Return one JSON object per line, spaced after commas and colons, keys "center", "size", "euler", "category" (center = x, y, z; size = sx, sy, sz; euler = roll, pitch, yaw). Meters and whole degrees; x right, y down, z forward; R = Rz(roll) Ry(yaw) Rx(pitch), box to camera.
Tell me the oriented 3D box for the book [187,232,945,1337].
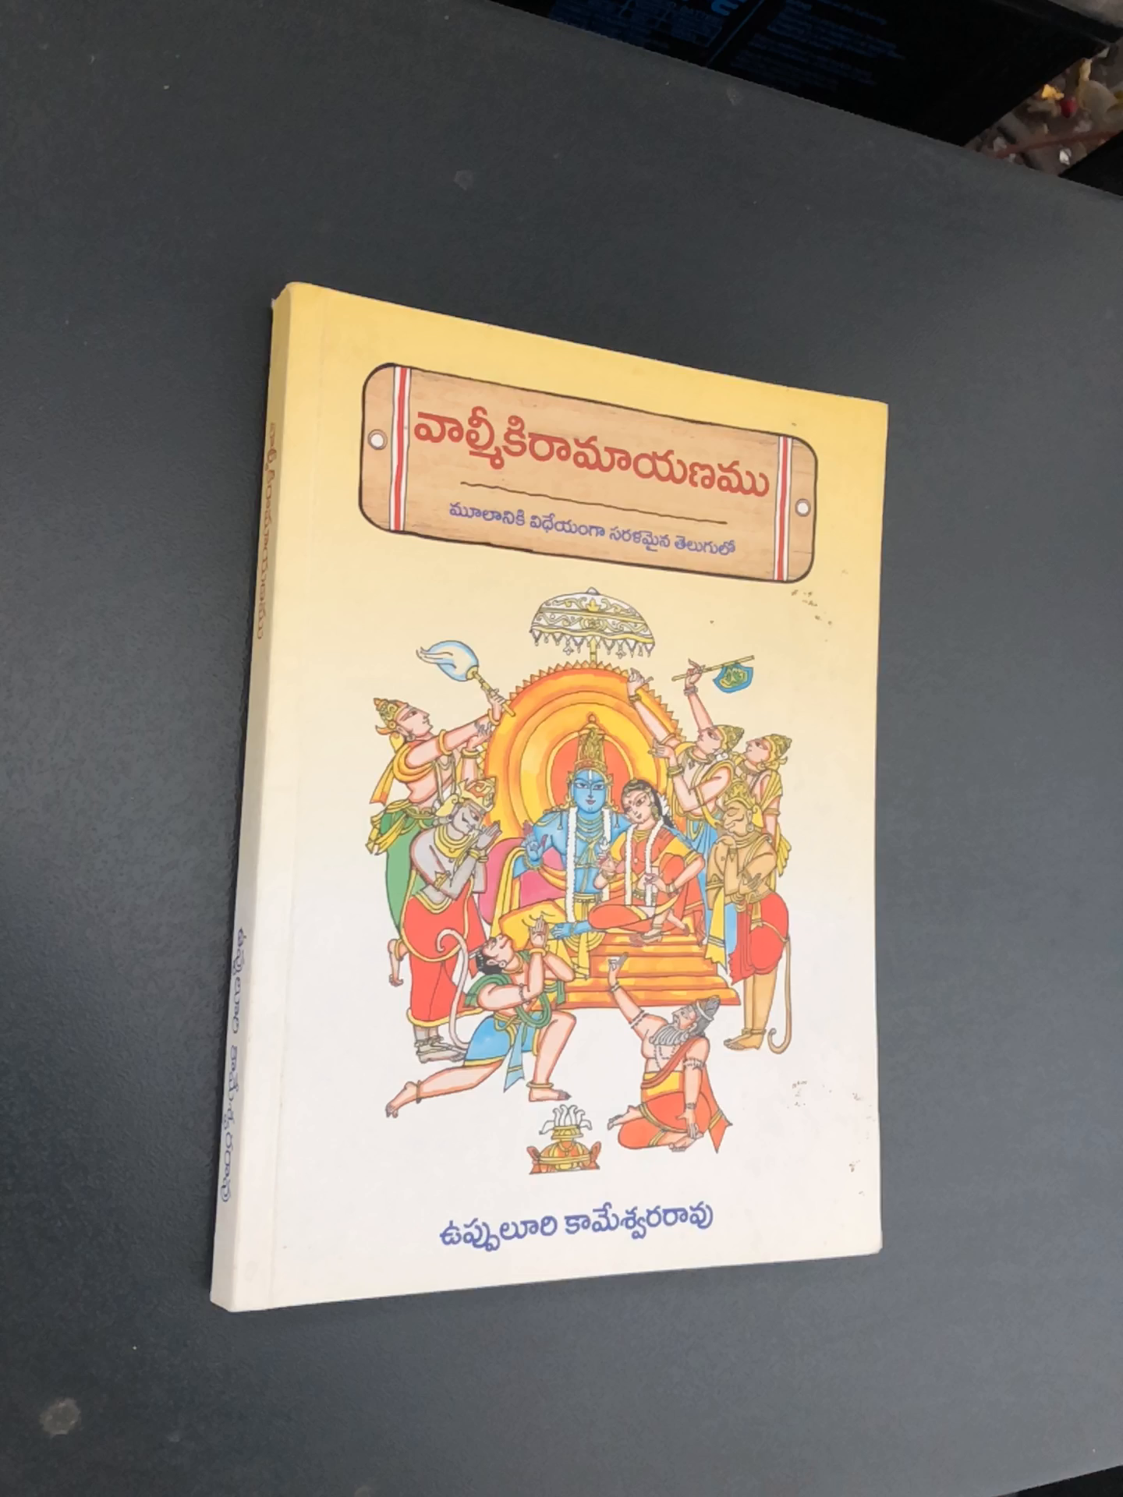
{"center": [0.014, 0.010, 0.315], "size": [0.190, 0.020, 0.240], "euler": [5, 83, -23], "category": "book"}
